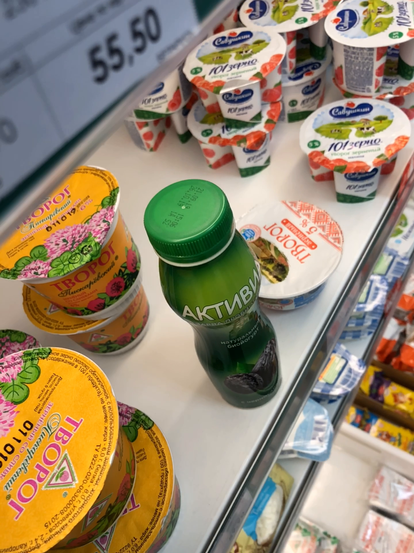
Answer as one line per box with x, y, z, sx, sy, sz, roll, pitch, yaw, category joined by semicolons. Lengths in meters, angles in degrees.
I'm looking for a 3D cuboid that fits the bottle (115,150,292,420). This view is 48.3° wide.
0.010;0.021;0.279;0.050;0.185;0.054;-7;54;10;bottle
